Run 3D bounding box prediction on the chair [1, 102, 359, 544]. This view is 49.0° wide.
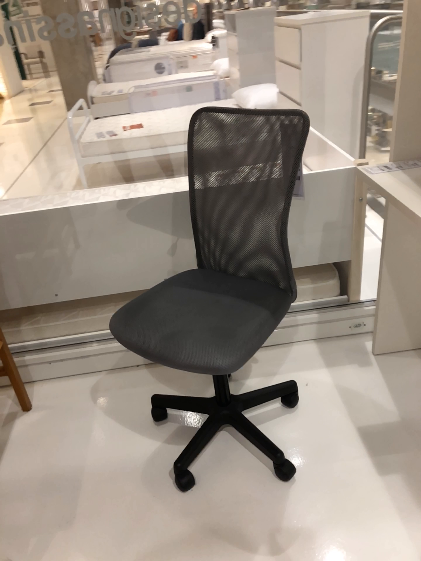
[{"bbox_3d":[0.002,0.056,1.288,0.581,0.933,0.603,14,36,32],"label":"chair"}]
